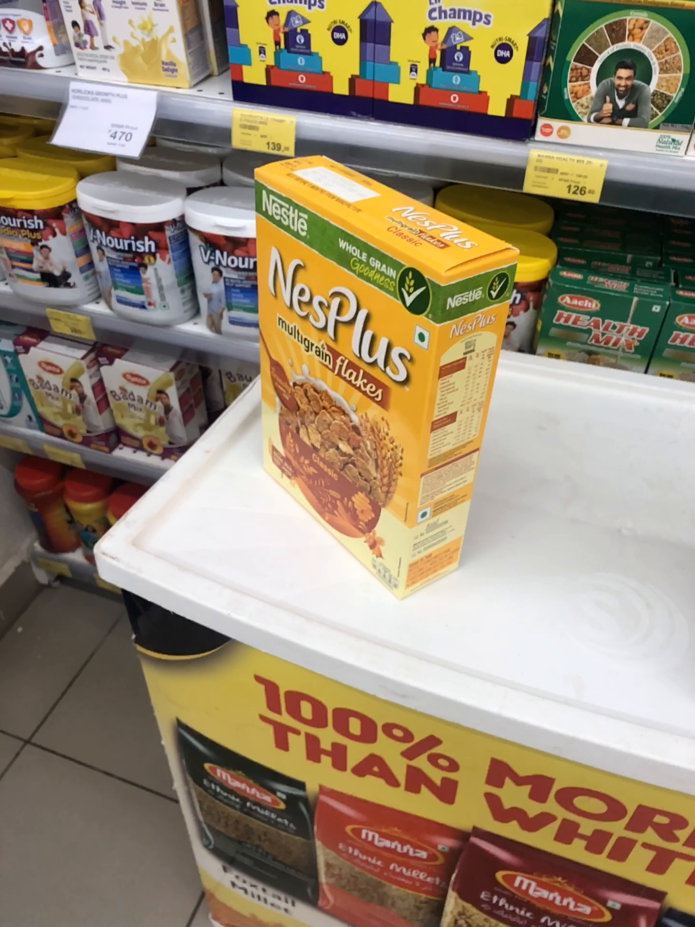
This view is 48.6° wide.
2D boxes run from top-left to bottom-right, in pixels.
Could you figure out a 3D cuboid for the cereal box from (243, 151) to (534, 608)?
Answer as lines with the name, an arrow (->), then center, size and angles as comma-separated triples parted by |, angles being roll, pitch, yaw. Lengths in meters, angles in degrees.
cereal box -> 0.015, -0.060, 0.571 | 0.070, 0.269, 0.201 | -26, 47, -29
